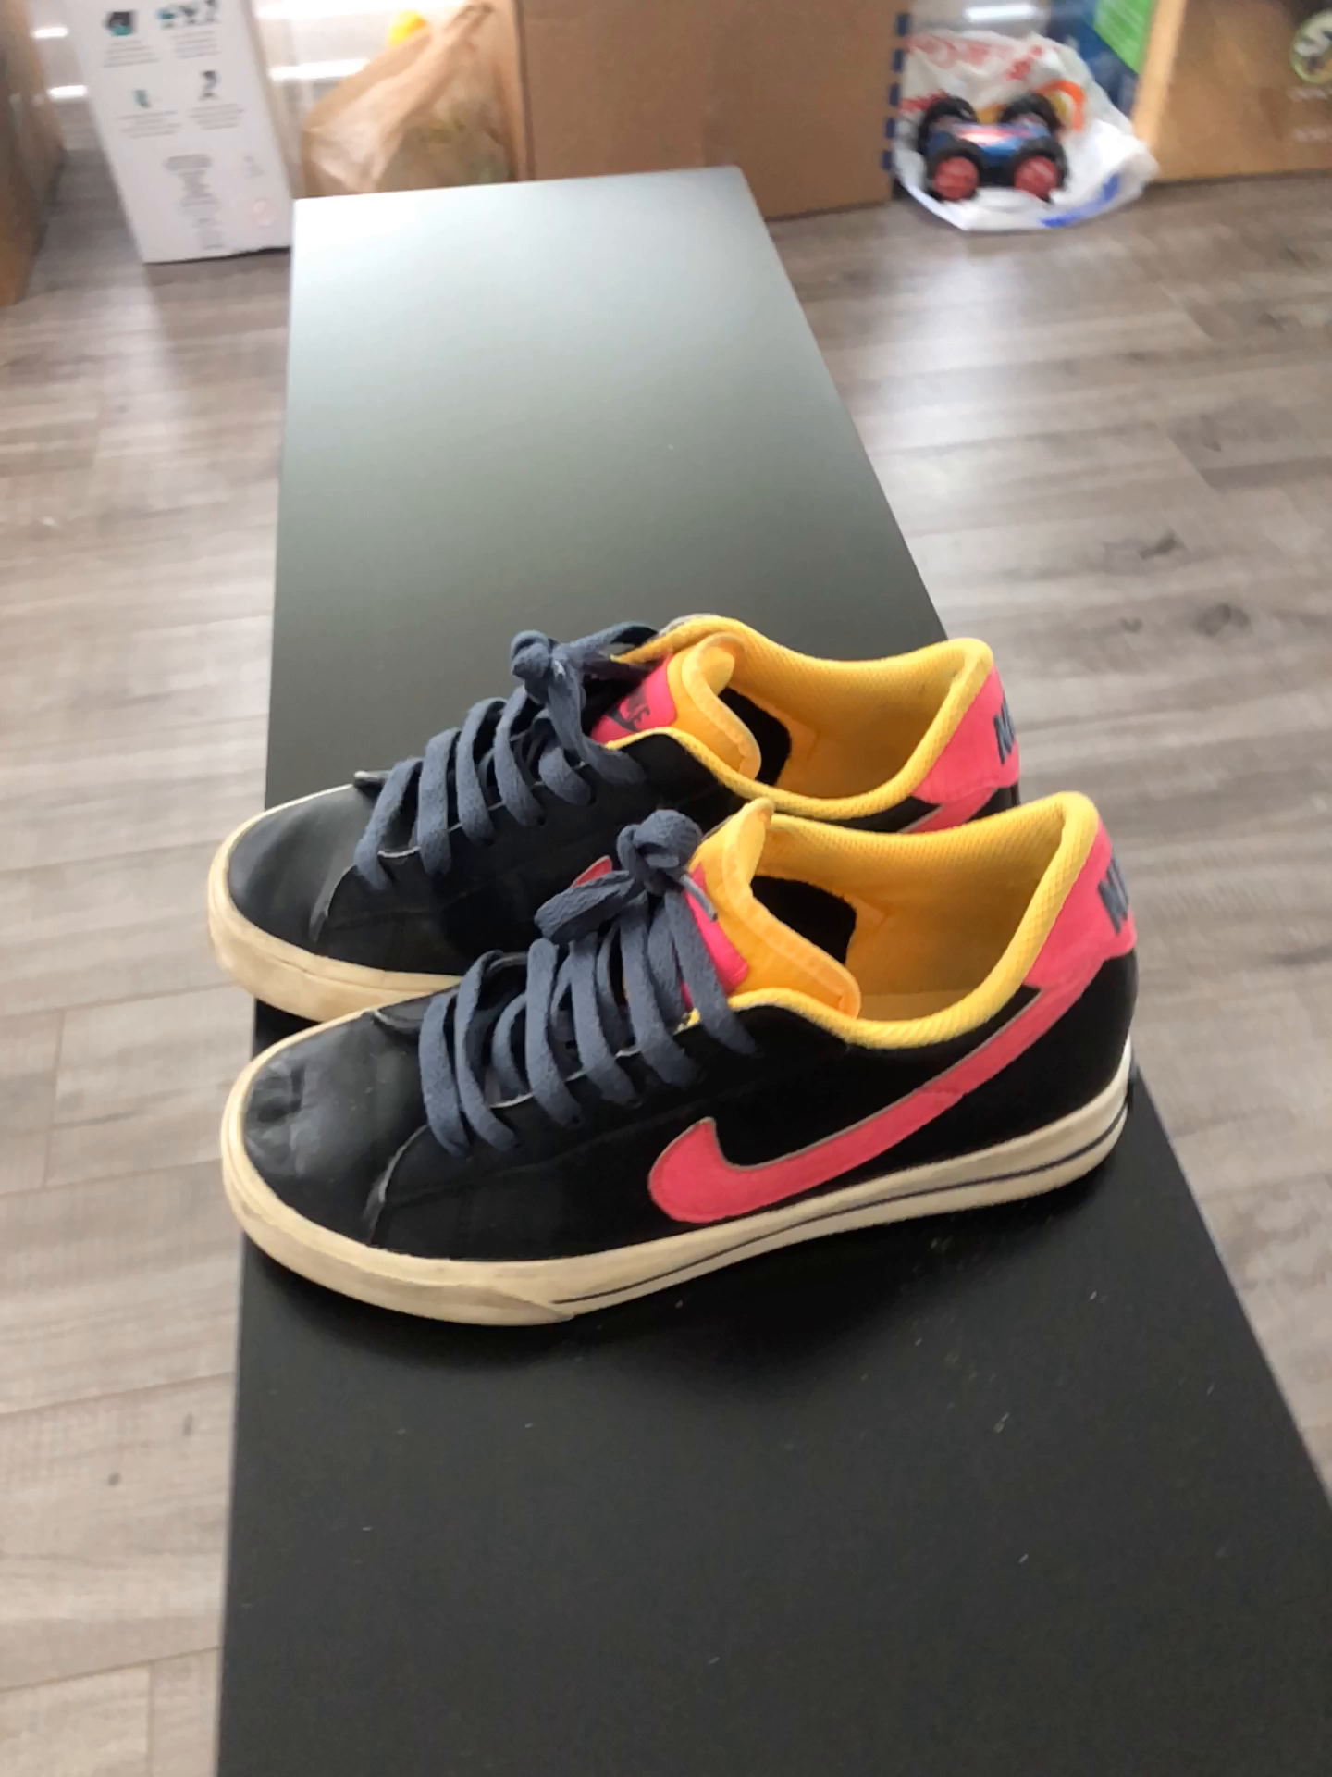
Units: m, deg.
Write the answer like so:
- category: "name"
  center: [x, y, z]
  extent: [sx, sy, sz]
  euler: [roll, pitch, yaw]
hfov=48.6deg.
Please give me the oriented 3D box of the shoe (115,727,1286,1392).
- category: "shoe"
  center: [0.006, 0.040, 0.370]
  extent: [0.244, 0.100, 0.090]
  euler: [-7, 44, -6]

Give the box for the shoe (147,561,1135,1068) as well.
- category: "shoe"
  center: [-0.007, -0.022, 0.433]
  extent: [0.244, 0.100, 0.096]
  euler: [-3, 44, -2]
